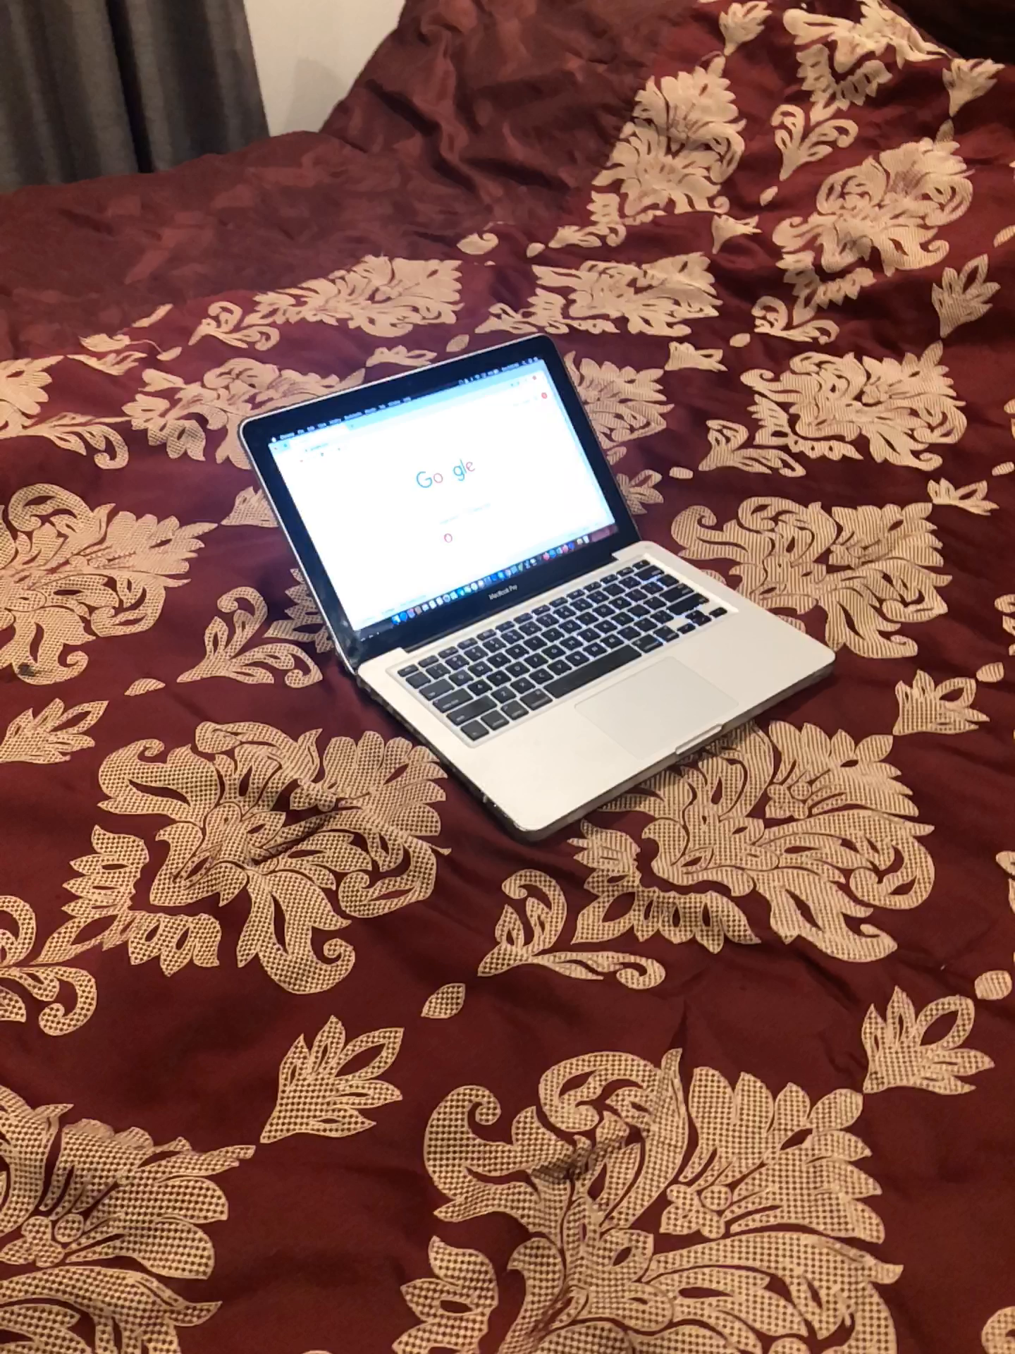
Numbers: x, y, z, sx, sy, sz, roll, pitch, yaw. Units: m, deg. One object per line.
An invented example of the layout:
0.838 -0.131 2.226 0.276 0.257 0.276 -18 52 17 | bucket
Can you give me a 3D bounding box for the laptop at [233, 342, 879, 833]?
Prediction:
0.023 -0.094 0.814 0.292 0.133 0.343 -26 46 -29 | laptop
